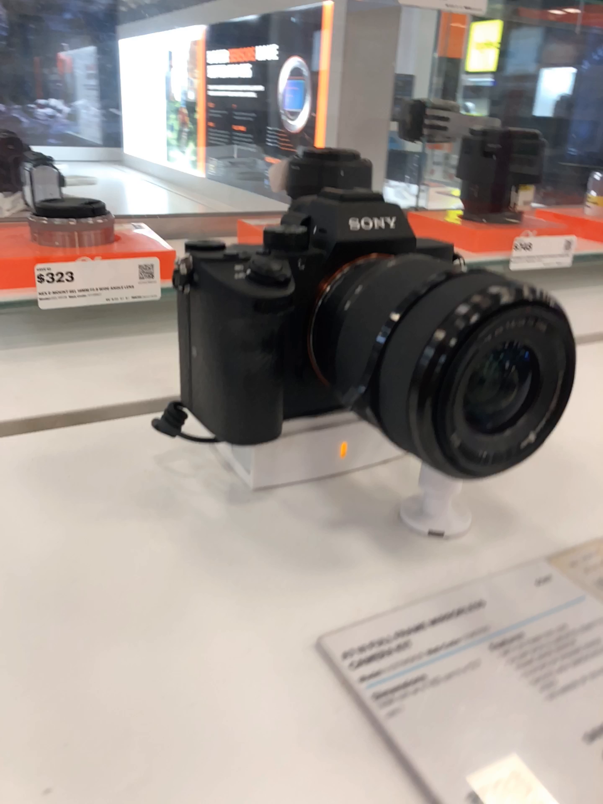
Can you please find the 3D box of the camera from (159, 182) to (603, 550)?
[{"bbox_3d":[0.027,-0.036,0.291,0.130,0.100,0.160,-9,25,-26],"label":"camera"}]
